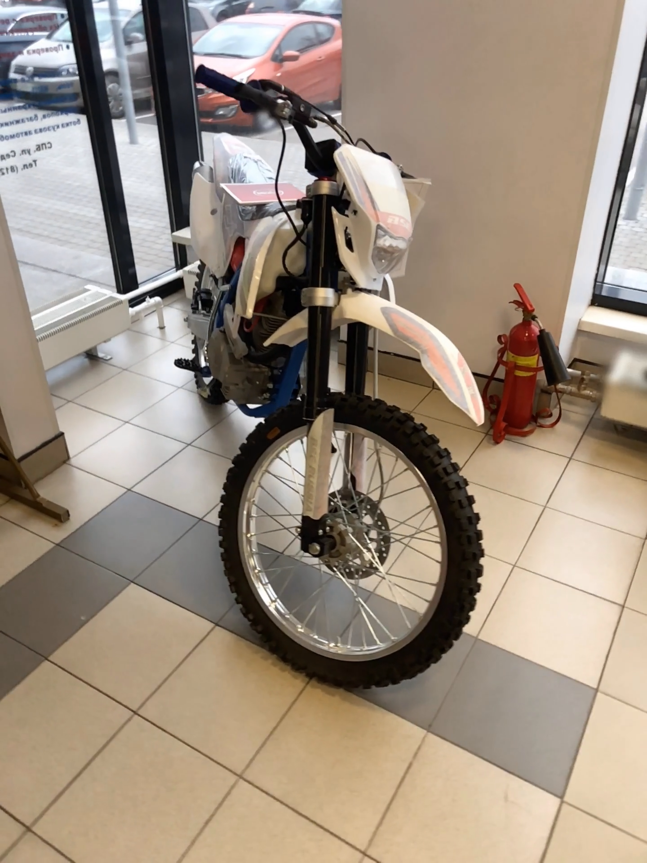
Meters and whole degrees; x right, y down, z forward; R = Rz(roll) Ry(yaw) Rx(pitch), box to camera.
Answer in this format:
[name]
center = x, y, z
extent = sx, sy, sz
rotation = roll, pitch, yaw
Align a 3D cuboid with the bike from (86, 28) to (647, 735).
[bike]
center = 0.027, -0.392, 2.088
extent = 0.843, 1.219, 1.853
rotation = -15, 37, -21
